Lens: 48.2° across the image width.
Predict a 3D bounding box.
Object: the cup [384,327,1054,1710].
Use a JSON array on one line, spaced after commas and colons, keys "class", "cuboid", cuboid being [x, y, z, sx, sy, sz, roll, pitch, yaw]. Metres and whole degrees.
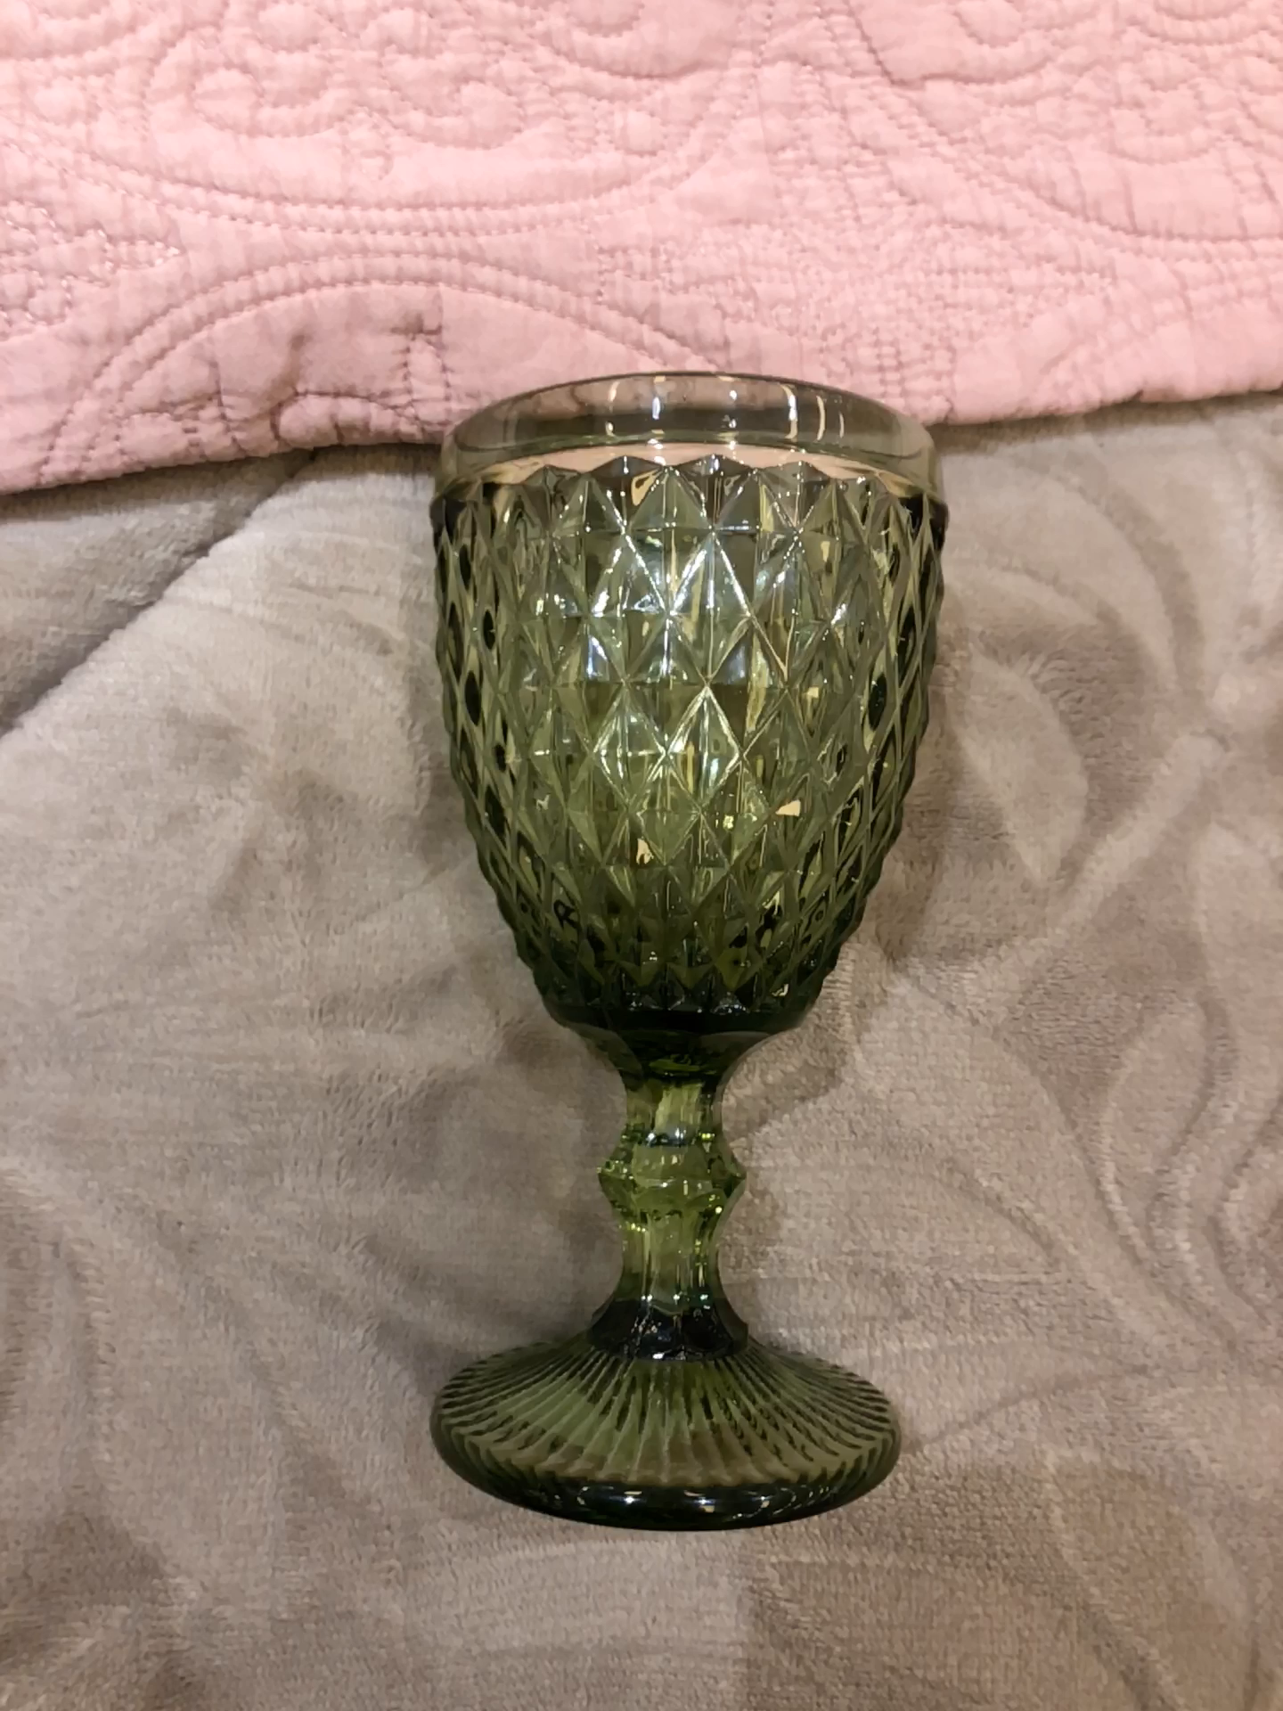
[{"class": "cup", "cuboid": [0.007, 0.024, 0.240, 0.090, 0.080, 0.190, 2, 83, -8]}]
